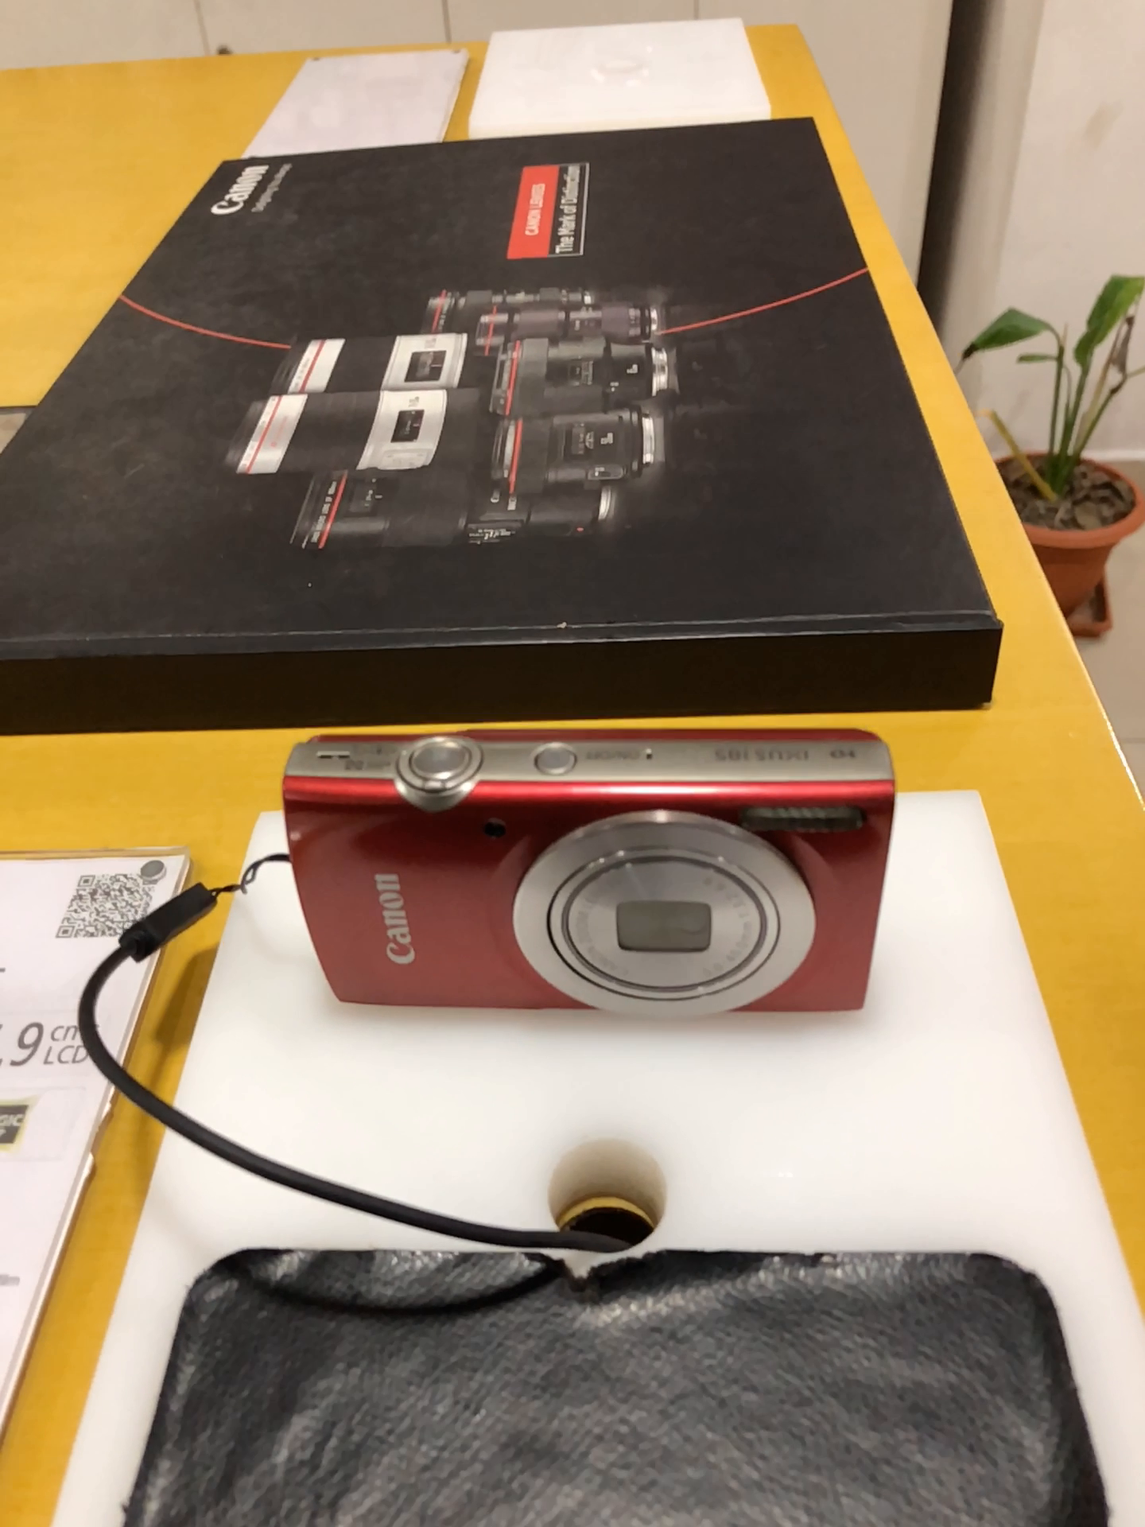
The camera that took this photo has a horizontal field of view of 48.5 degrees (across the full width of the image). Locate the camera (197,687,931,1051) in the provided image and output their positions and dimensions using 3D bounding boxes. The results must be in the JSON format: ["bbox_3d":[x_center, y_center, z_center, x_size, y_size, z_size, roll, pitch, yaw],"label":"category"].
[{"bbox_3d":[0.000,0.017,0.200,0.100,0.050,0.030,0,42,4],"label":"camera"}]
